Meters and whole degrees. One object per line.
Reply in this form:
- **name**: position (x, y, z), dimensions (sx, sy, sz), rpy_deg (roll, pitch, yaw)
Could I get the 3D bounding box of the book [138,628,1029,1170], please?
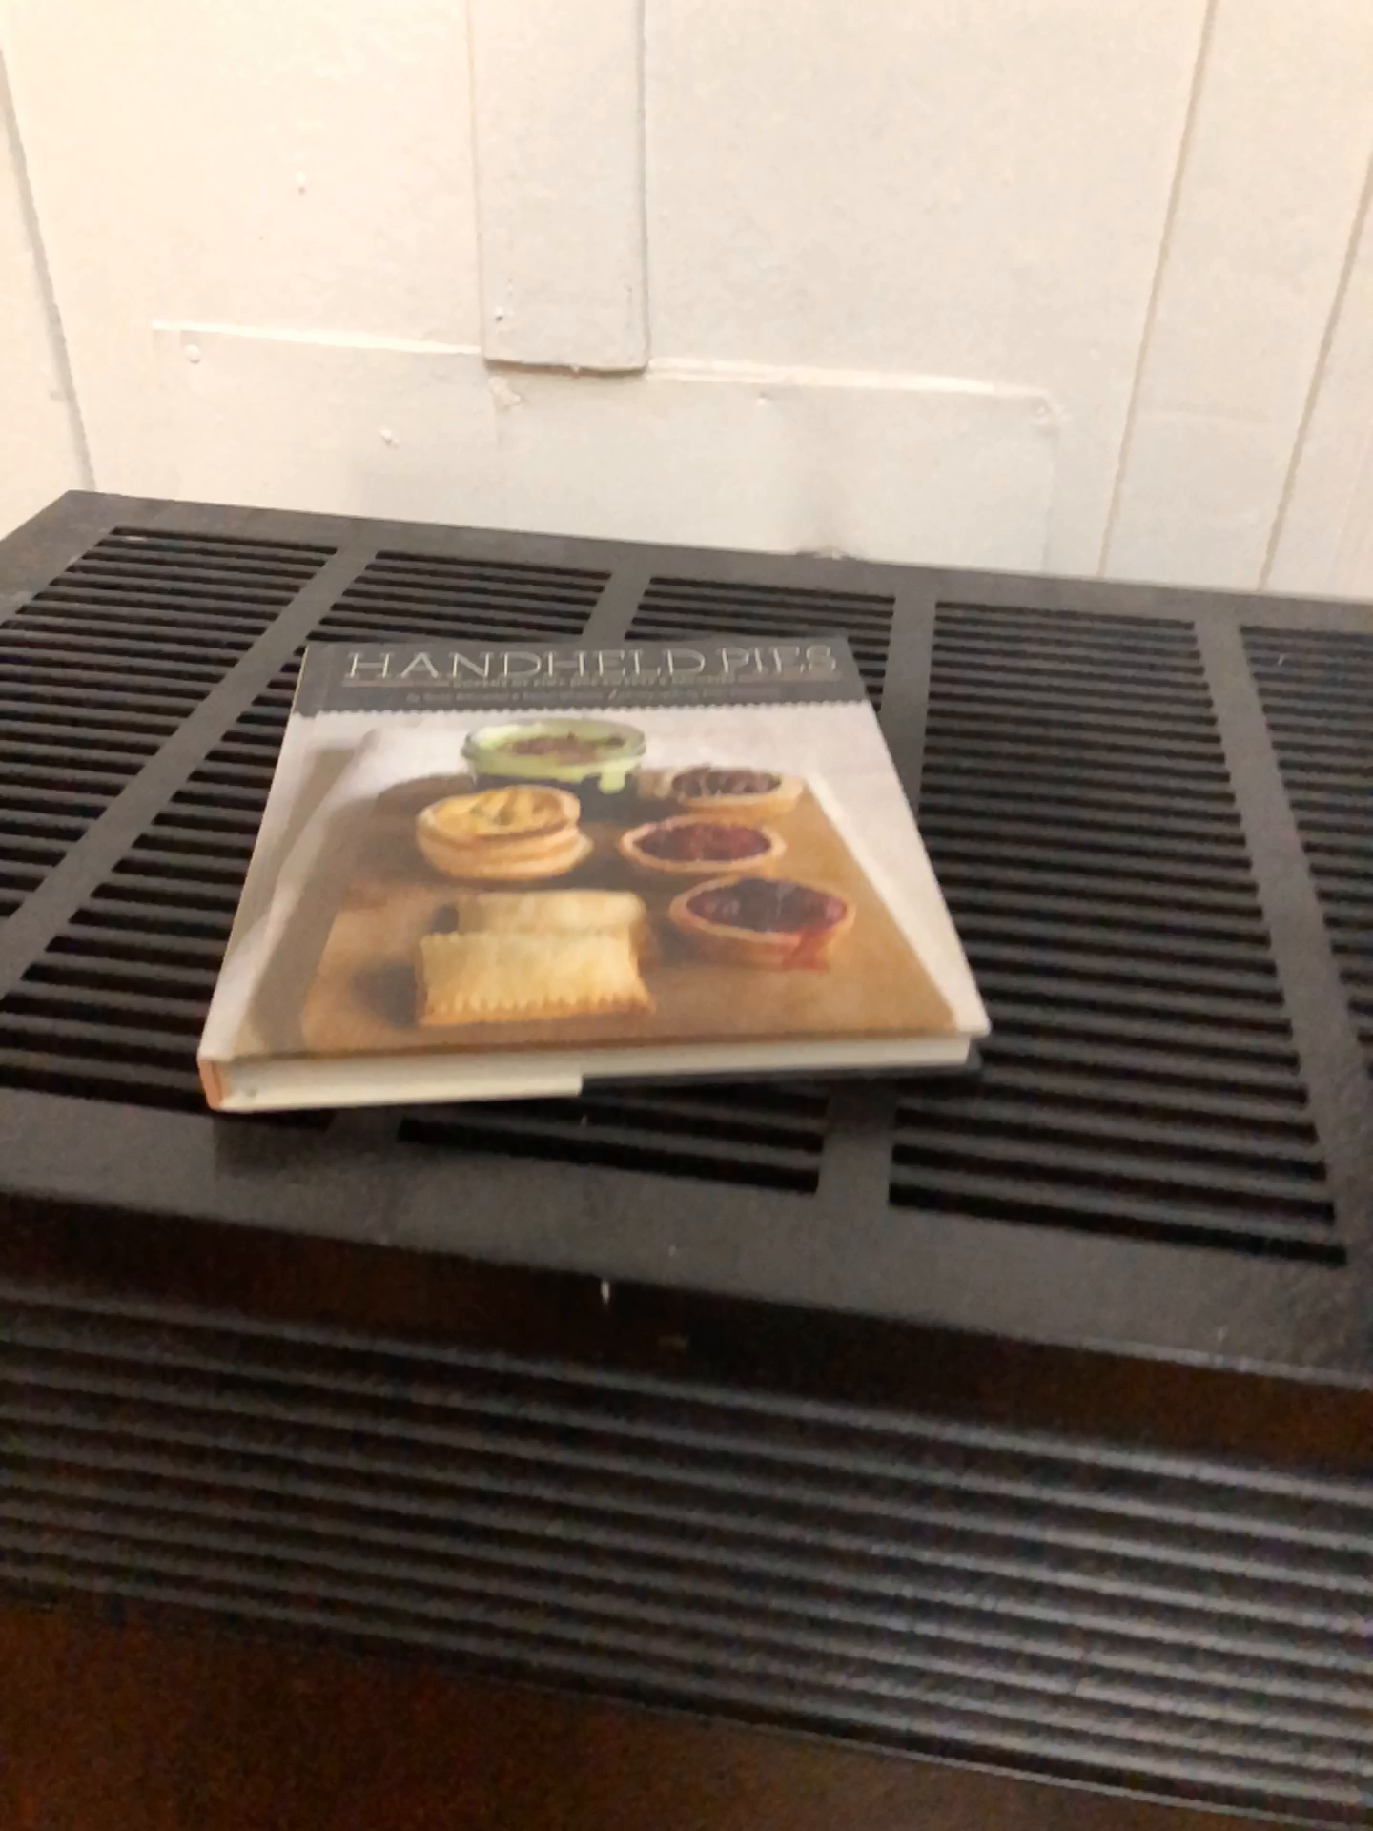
- **book**: position (-0.031, -0.022, 0.437), dimensions (0.200, 0.020, 0.231), rpy_deg (-3, 36, -4)
